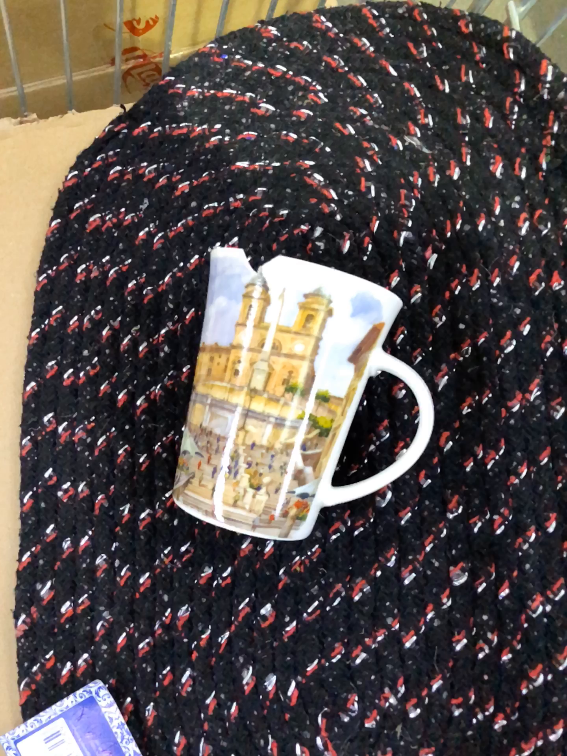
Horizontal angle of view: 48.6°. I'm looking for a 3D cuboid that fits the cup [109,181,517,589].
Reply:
[{"bbox_3d":[0.012,0.003,0.252,0.110,0.090,0.110,0,87,4],"label":"cup"}]
